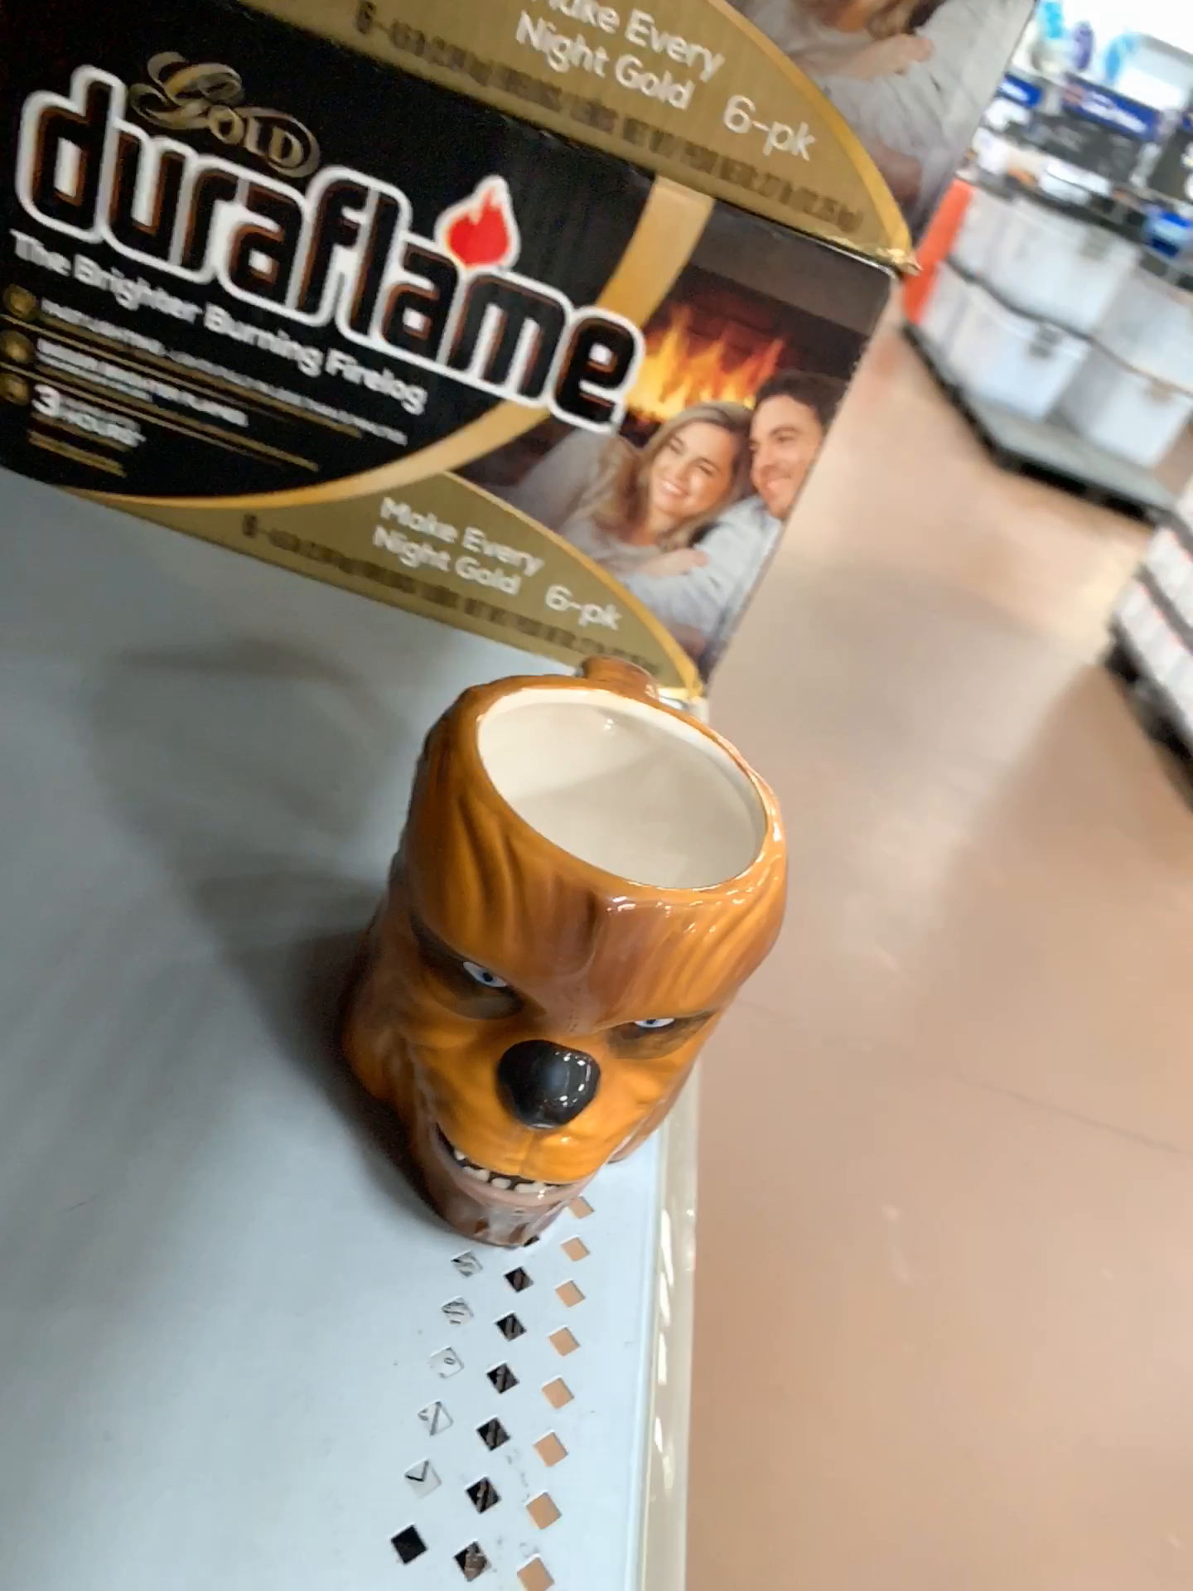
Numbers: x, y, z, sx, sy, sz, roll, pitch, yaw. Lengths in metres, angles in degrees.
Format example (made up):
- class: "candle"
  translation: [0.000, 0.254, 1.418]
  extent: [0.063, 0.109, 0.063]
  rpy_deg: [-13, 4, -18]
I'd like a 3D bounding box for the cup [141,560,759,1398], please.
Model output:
- class: "cup"
  translation: [-0.032, 0.042, 0.316]
  extent: [0.097, 0.138, 0.132]
  rpy_deg: [20, 31, -6]
